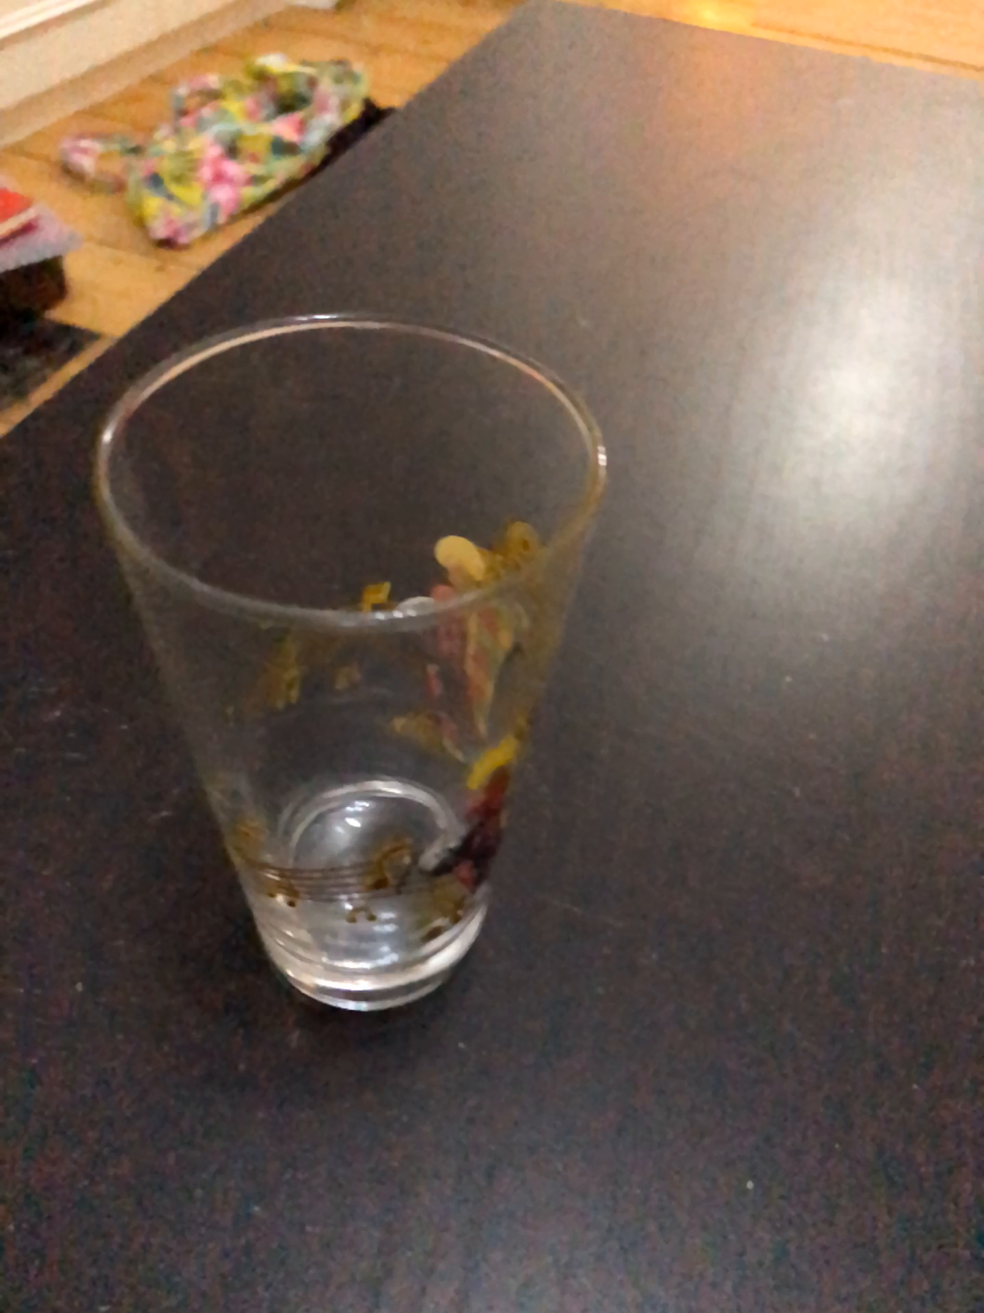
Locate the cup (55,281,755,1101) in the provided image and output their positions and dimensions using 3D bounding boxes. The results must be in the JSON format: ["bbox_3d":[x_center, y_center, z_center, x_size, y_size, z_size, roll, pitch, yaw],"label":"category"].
[{"bbox_3d":[-0.021,0.007,0.199,0.080,0.109,0.080,3,46,-3],"label":"cup"}]
